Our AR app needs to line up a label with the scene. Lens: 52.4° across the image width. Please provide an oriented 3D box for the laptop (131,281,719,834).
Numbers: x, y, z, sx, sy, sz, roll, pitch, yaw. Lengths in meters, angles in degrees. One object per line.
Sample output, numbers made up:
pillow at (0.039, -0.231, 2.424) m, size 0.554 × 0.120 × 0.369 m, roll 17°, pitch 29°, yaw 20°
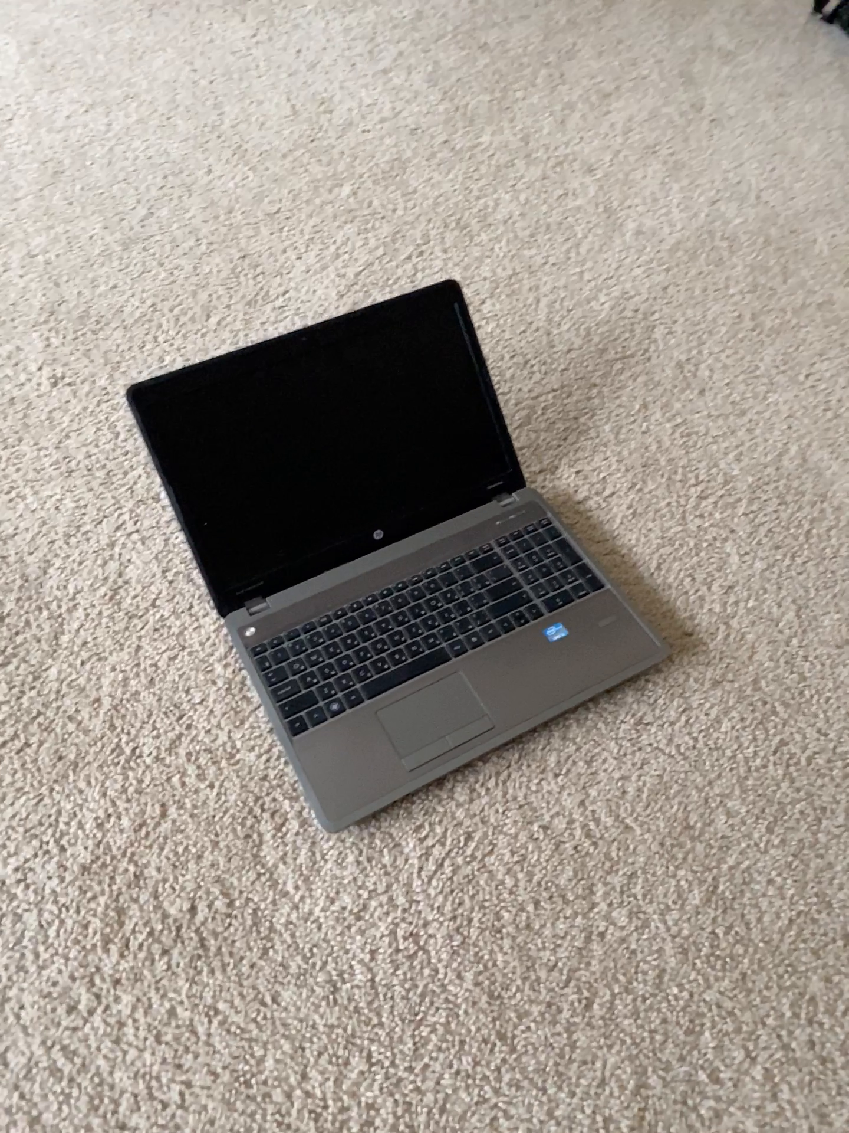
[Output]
laptop at (-0.022, -0.042, 0.849) m, size 0.375 × 0.162 × 0.436 m, roll -23°, pitch 56°, yaw -16°
